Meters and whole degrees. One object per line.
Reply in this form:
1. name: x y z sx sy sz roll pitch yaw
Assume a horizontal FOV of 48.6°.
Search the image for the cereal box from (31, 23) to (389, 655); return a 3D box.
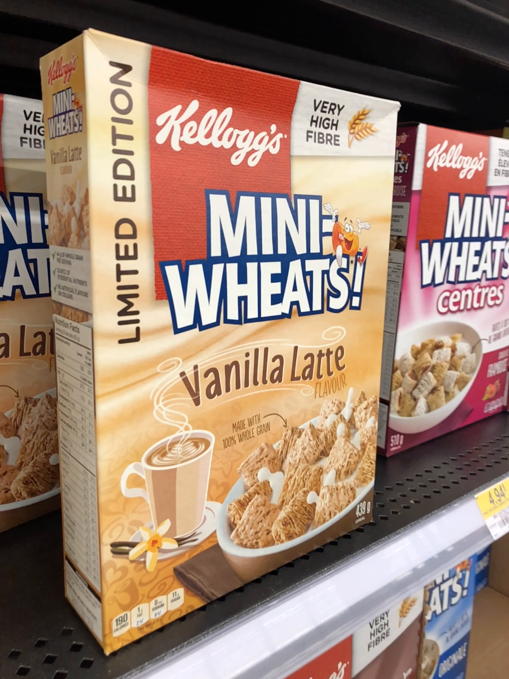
1. cereal box: -0.013 -0.003 0.327 0.190 0.279 0.060 -9 14 -38
